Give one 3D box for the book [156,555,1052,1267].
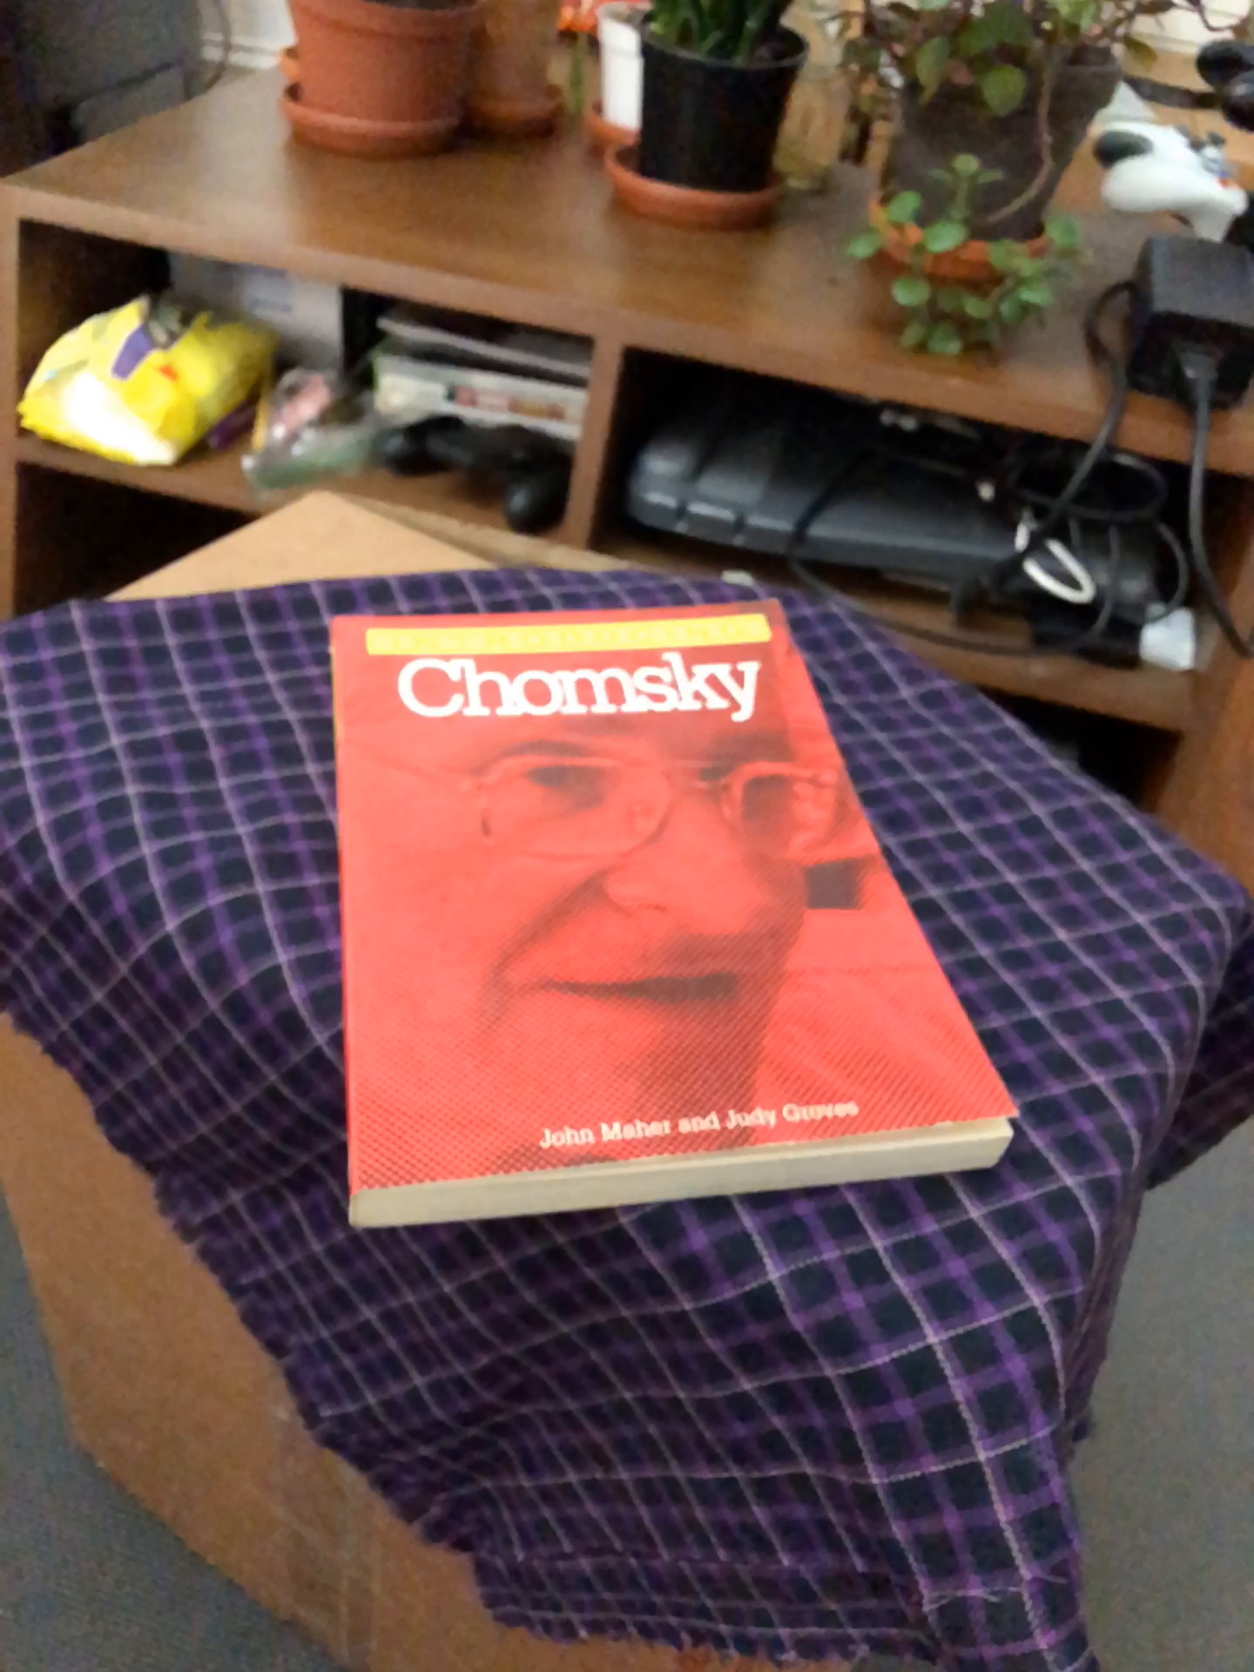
[{"bbox_3d":[-0.022,-0.006,0.372,0.180,0.020,0.241,-2,41,-12],"label":"book"}]
